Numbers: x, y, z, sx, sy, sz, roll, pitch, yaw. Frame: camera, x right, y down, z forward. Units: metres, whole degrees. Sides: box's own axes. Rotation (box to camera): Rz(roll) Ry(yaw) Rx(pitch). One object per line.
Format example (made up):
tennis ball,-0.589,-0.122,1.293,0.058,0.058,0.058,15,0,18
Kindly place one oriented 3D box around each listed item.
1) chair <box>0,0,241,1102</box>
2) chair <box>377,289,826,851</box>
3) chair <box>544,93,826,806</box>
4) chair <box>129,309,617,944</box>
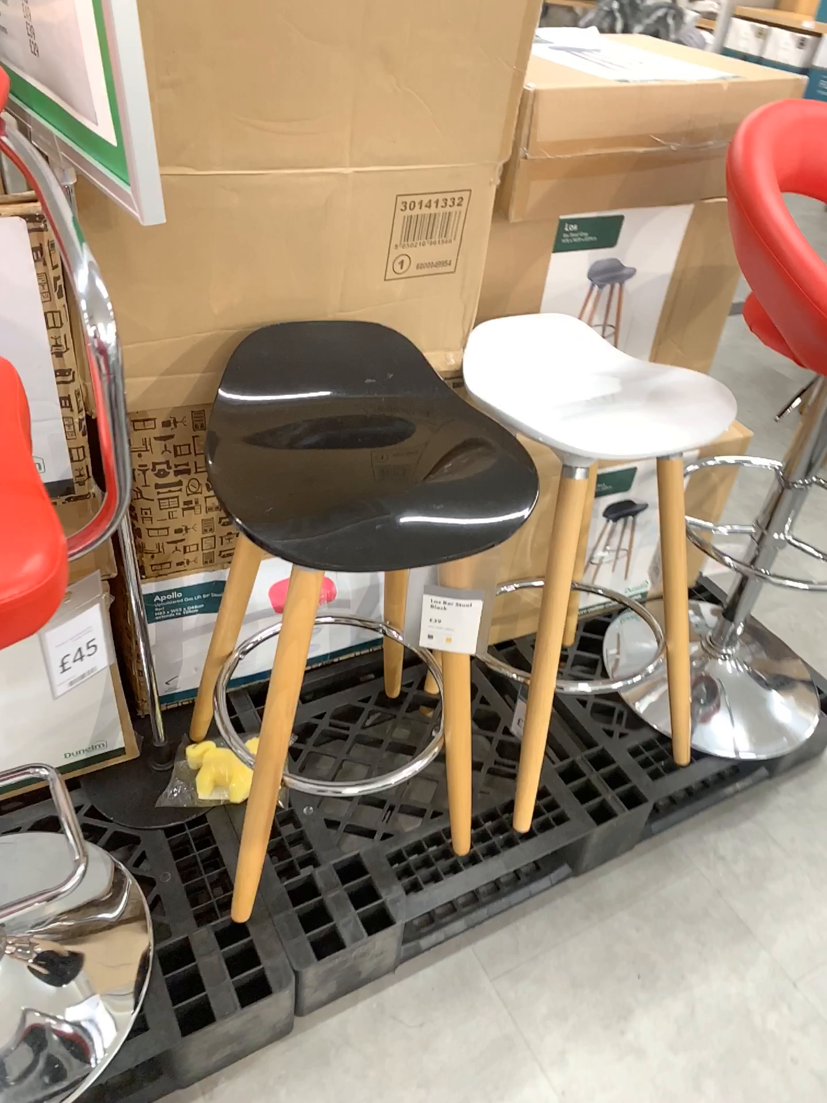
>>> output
chair,-0.523,0.137,0.752,0.550,1.030,0.453,-18,43,-28
chair,0.250,0.013,1.343,0.409,0.663,0.483,-14,42,-25
chair,0.641,-0.156,1.382,0.510,0.980,0.453,-18,43,-28
chair,-0.099,0.092,1.144,0.429,0.673,0.433,-10,40,-20
